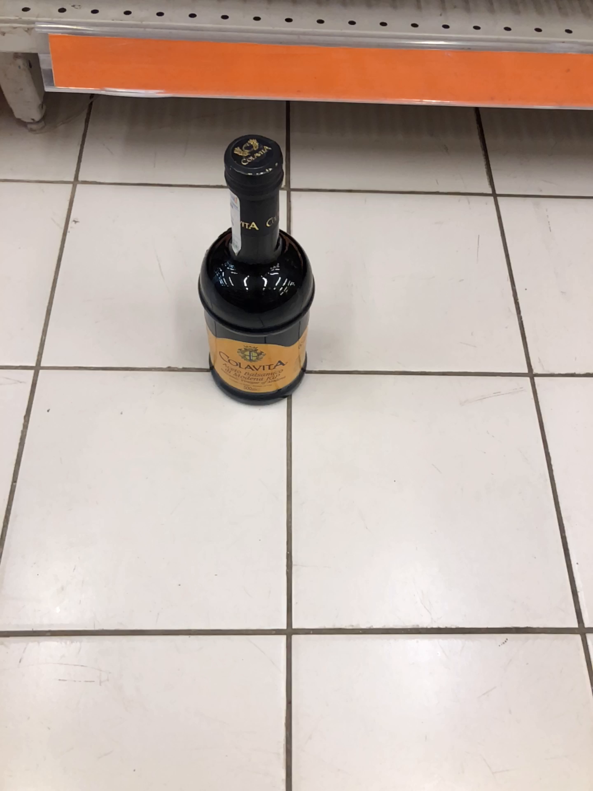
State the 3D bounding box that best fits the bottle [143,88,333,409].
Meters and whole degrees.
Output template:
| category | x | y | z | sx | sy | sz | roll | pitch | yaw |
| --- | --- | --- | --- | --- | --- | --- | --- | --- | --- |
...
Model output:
| category | x | y | z | sx | sy | sz | roll | pitch | yaw |
| --- | --- | --- | --- | --- | --- | --- | --- | --- | --- |
| bottle | -0.032 | -0.078 | 0.421 | 0.090 | 0.199 | 0.090 | 1 | 62 | -3 |
